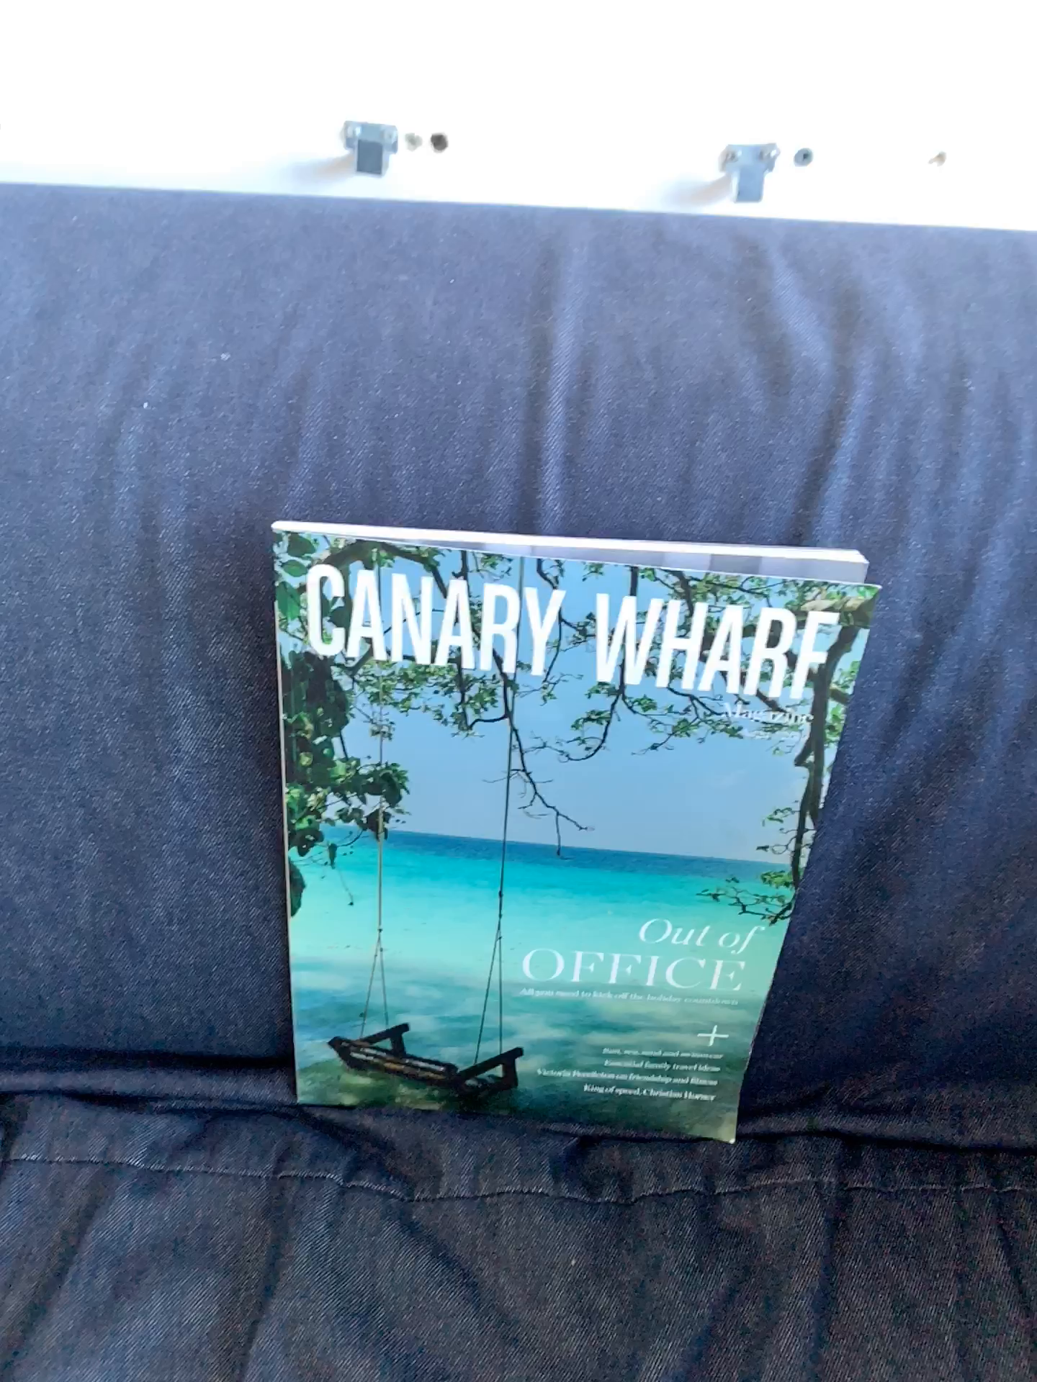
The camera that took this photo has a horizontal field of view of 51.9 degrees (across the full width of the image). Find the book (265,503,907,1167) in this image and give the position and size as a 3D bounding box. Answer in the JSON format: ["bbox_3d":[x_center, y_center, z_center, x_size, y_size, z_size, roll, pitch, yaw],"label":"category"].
[{"bbox_3d":[0.013,0.071,0.416,0.205,0.273,0.030,5,28,1],"label":"book"}]
